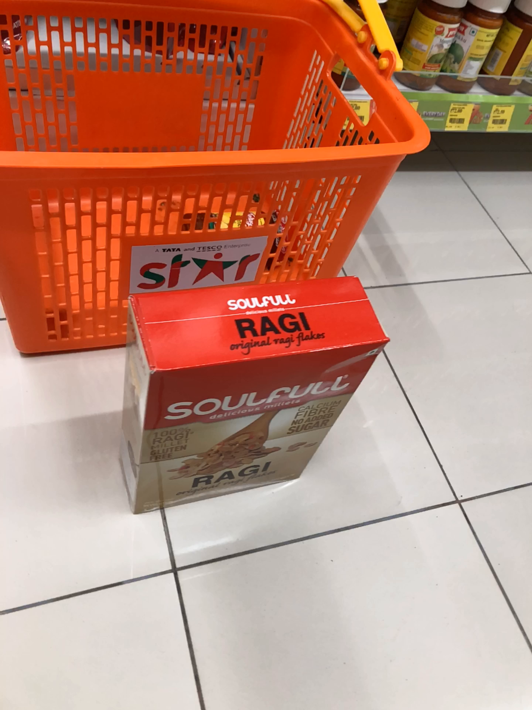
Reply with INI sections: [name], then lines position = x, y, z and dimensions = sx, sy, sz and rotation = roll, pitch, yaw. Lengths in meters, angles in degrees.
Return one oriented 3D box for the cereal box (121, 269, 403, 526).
[cereal box]
position = -0.022, 0.044, 0.469
dimensions = 0.170, 0.239, 0.060
rotation = -8, 56, -21
